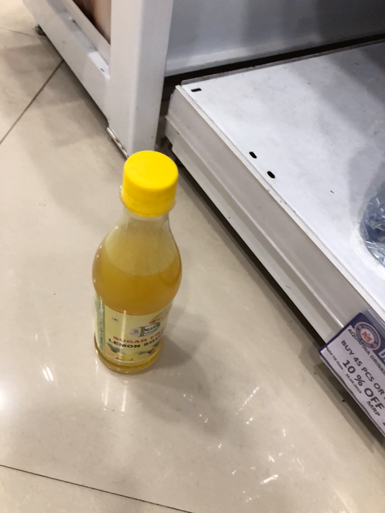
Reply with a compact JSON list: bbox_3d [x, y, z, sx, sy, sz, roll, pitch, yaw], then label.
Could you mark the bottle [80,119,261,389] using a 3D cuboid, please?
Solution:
[{"bbox_3d":[-0.032,0.017,0.324,0.080,0.229,0.070,-13,58,-21],"label":"bottle"}]
